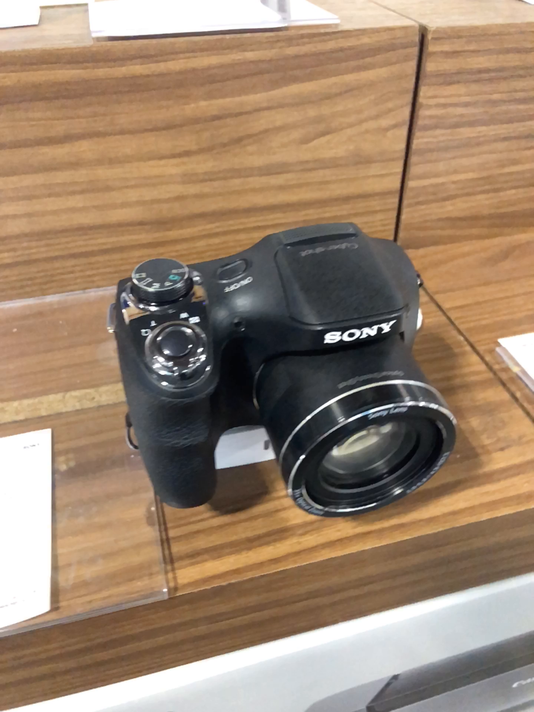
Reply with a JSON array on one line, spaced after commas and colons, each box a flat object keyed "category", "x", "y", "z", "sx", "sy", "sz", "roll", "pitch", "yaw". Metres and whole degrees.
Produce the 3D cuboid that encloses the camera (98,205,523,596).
[{"category": "camera", "x": 0.008, "y": 0.010, "z": 0.230, "sx": 0.120, "sy": 0.092, "sz": 0.091, "roll": -11, "pitch": 38, "yaw": -13}]
